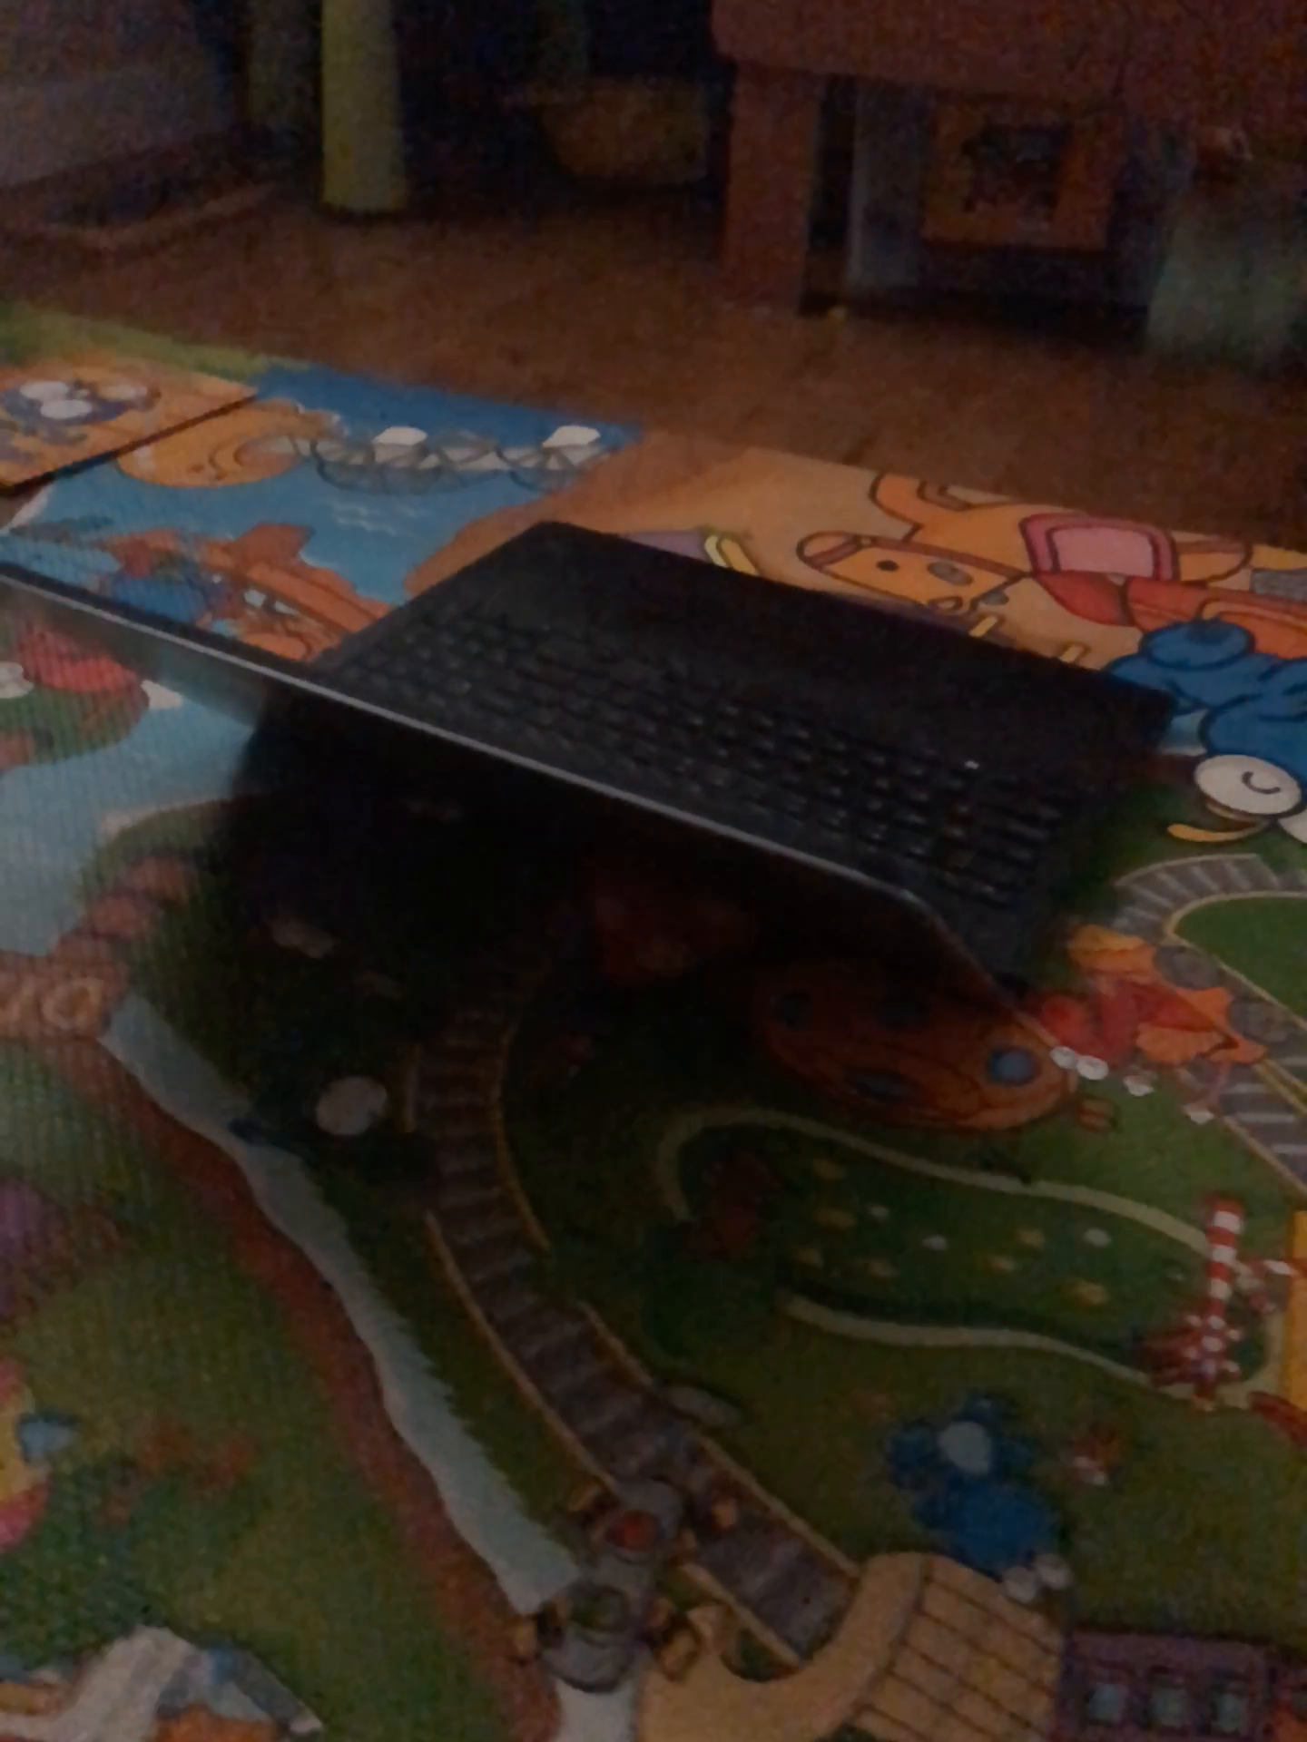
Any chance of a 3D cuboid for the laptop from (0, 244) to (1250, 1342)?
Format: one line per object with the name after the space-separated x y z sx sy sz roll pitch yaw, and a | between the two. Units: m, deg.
-0.005 -0.099 0.576 0.361 0.158 0.430 21 39 21 | laptop
